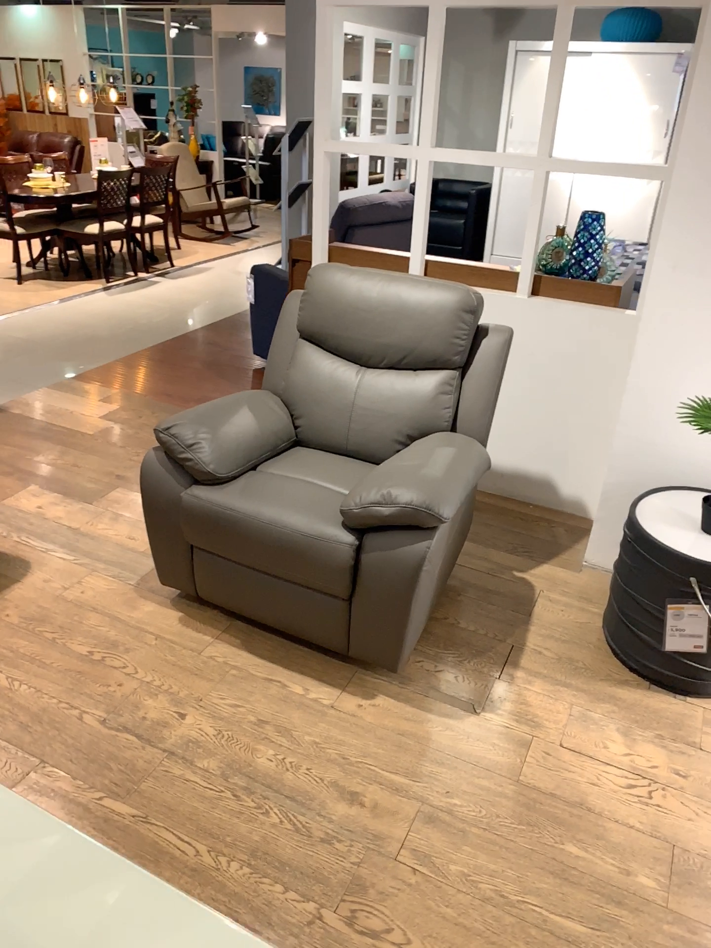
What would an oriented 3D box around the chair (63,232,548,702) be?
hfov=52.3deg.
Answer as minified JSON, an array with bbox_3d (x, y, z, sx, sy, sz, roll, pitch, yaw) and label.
[{"bbox_3d":[-0.096,-0.140,2.213,1.001,0.936,0.943,15,30,23],"label":"chair"}]
